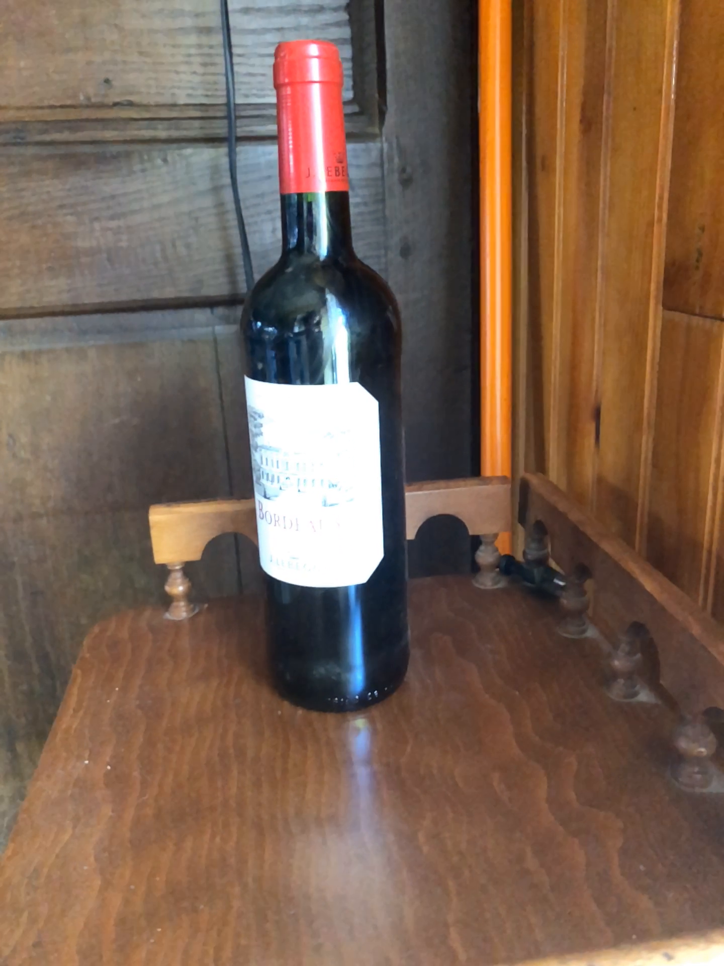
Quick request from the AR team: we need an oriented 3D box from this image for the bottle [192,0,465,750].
[{"bbox_3d":[-0.006,-0.040,0.376,0.080,0.309,0.080,-2,18,1],"label":"bottle"}]
